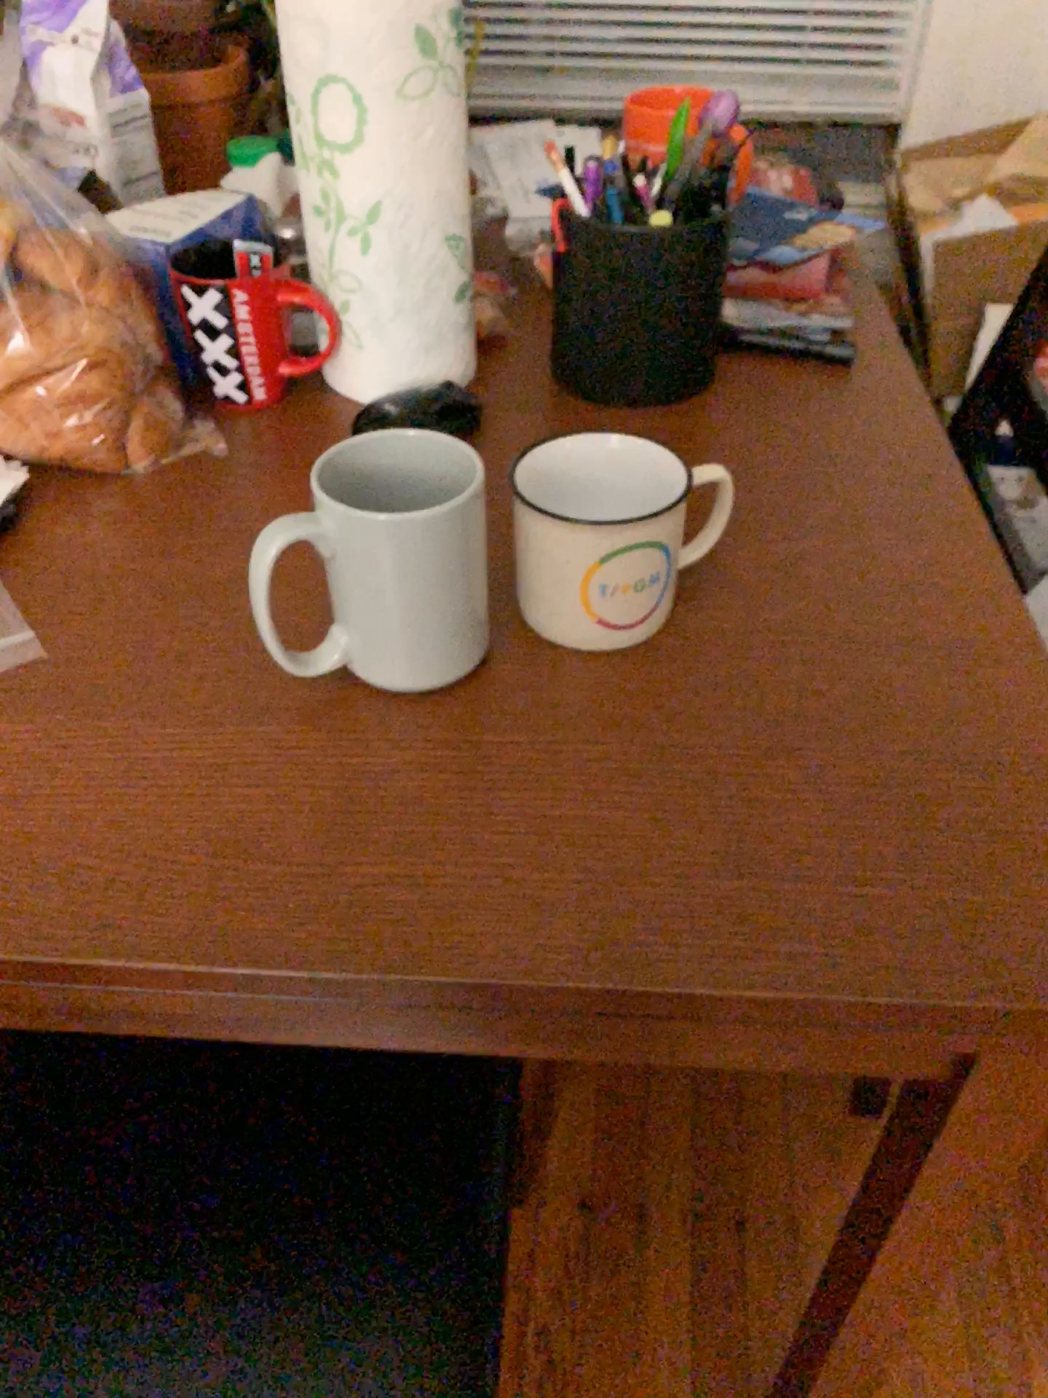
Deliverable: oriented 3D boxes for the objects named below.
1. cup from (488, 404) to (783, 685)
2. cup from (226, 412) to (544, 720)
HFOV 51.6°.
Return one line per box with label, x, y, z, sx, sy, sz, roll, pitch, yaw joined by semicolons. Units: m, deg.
cup;0.055;-0.088;0.603;0.130;0.099;0.101;-9;42;-10
cup;-0.071;-0.071;0.559;0.140;0.099;0.101;-10;42;-10
